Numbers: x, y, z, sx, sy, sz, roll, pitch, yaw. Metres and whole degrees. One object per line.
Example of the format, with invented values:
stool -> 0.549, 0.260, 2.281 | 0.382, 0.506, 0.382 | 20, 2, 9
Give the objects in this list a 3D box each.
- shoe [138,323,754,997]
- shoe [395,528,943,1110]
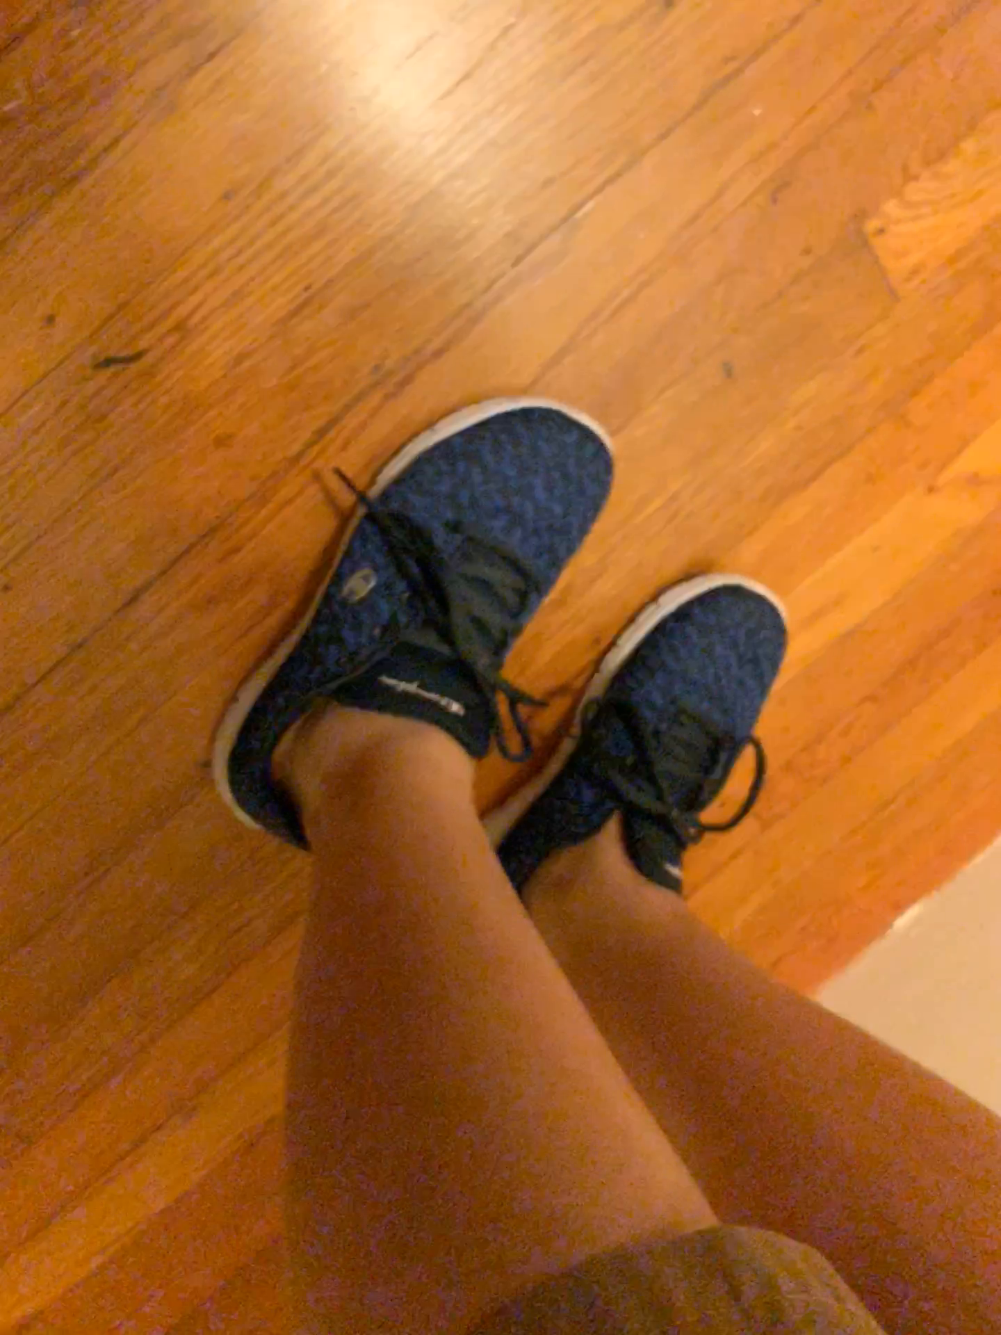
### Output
shoe -> -0.042, -0.011, 0.520 | 0.116, 0.150, 0.290 | 37, 97, -27
shoe -> 0.082, 0.082, 0.589 | 0.118, 0.130, 0.280 | 34, 98, -26
